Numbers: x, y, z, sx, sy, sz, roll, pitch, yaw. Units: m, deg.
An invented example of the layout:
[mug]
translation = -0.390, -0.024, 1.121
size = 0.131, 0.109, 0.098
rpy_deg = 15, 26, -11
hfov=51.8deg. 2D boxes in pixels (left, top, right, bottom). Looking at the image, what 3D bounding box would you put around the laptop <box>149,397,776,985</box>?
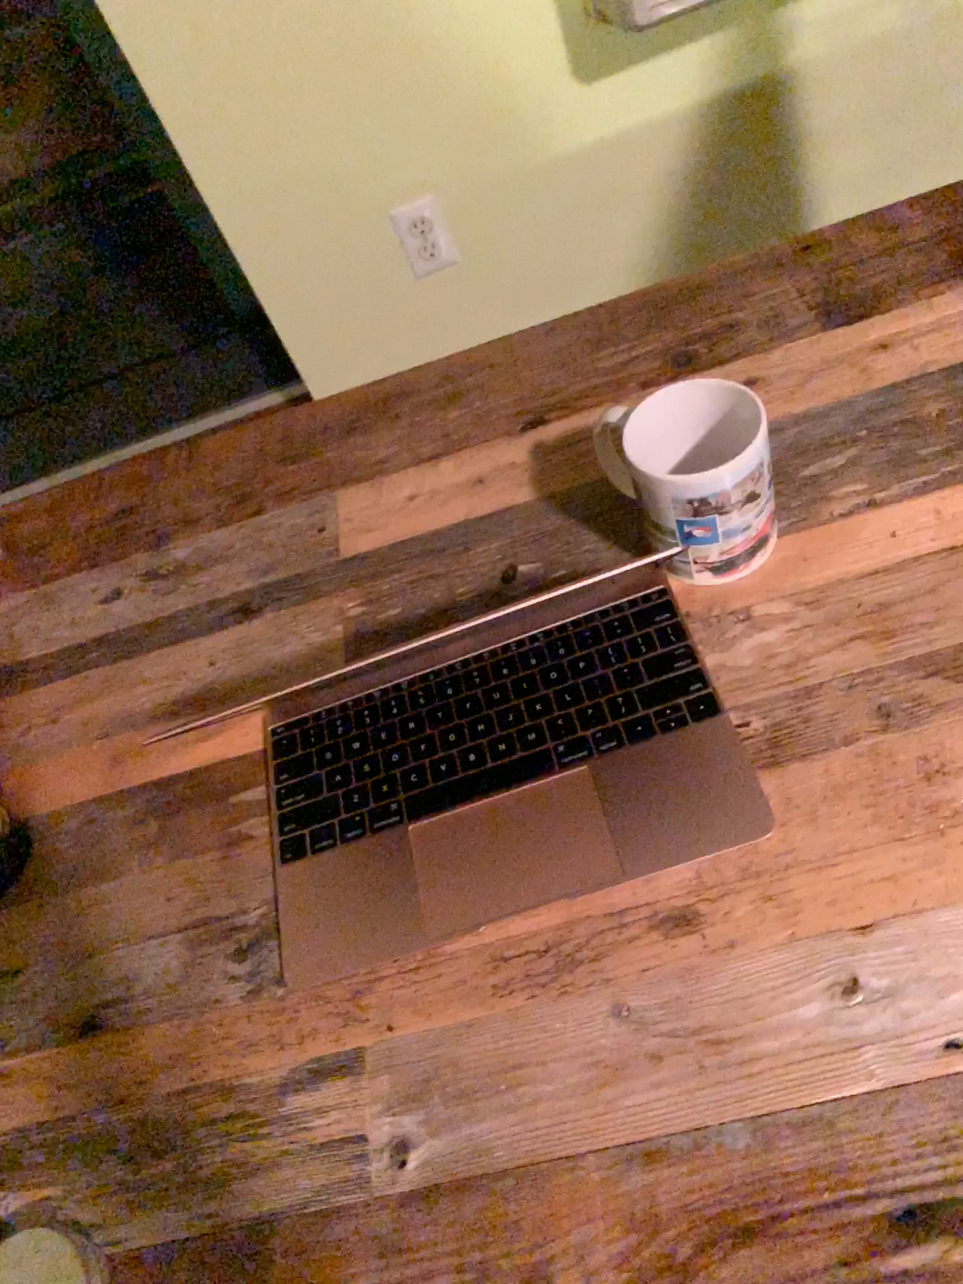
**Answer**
[laptop]
translation = -0.017, 0.030, 0.541
size = 0.278, 0.145, 0.194
rpy_deg = -19, 51, 6
